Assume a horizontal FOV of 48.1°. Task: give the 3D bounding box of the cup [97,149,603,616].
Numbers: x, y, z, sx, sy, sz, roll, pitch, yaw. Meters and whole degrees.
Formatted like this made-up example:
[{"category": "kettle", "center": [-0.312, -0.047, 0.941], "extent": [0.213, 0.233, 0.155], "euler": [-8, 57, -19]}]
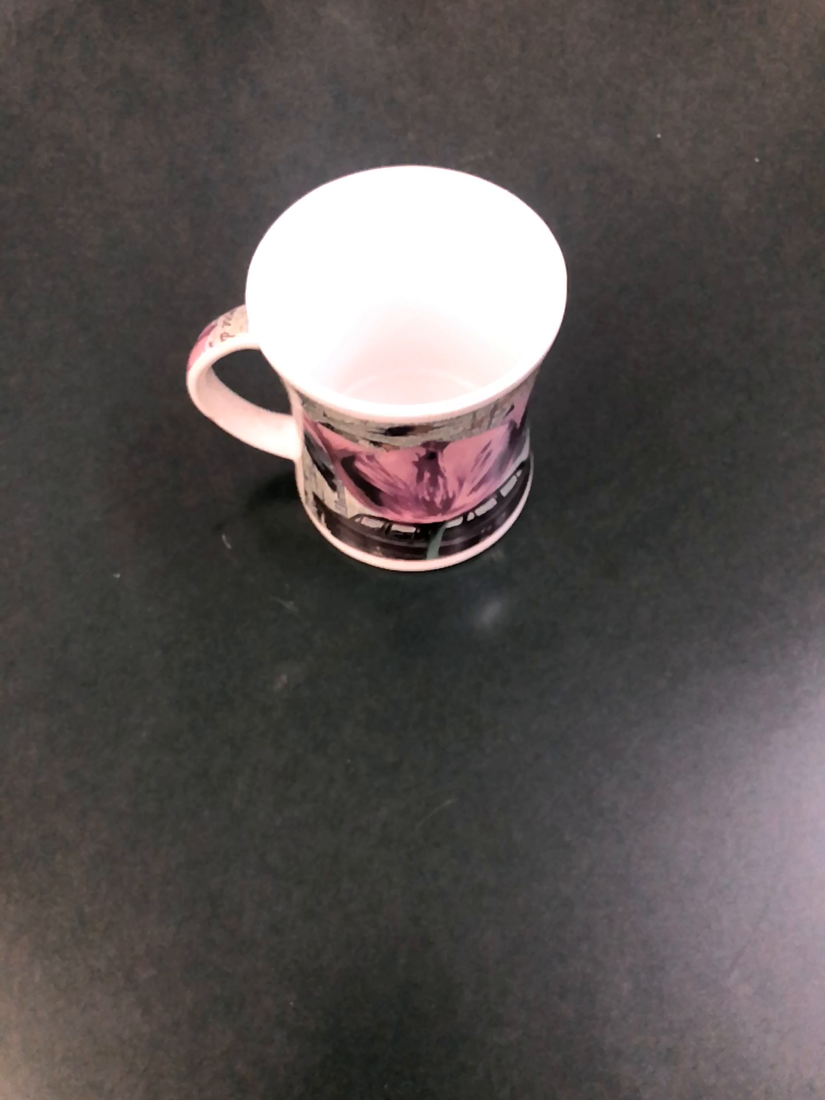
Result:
[{"category": "cup", "center": [-0.016, -0.044, 0.288], "extent": [0.120, 0.110, 0.090], "euler": [-3, 64, 0]}]
